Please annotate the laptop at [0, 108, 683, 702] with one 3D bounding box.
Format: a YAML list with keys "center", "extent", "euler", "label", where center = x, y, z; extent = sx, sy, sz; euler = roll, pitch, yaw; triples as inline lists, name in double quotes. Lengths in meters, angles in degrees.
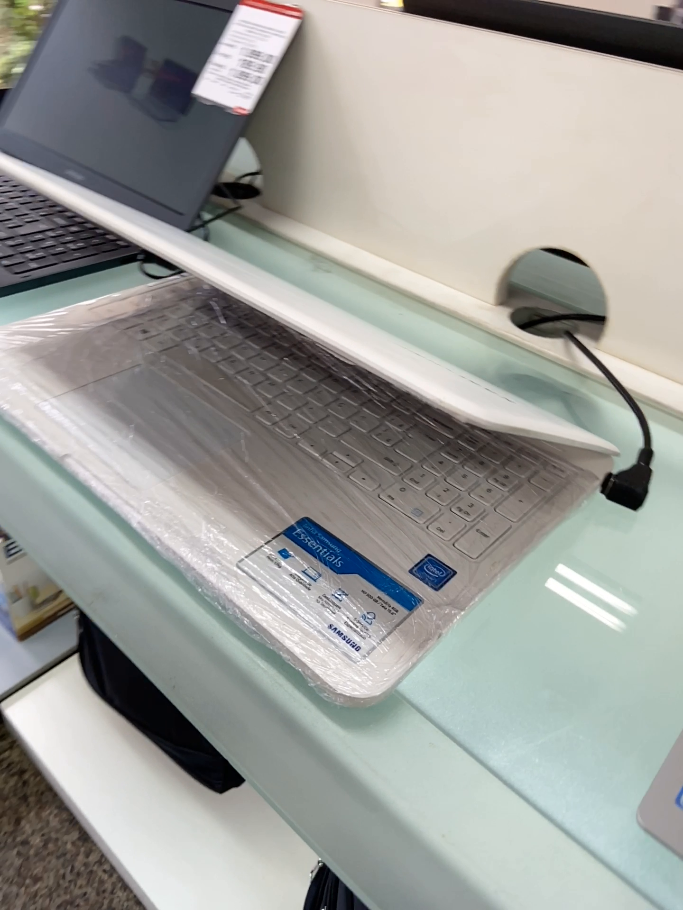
- center: [-0.046, -0.084, 0.419]
  extent: [0.373, 0.129, 0.248]
  euler: [32, 44, 29]
  label: "laptop"
